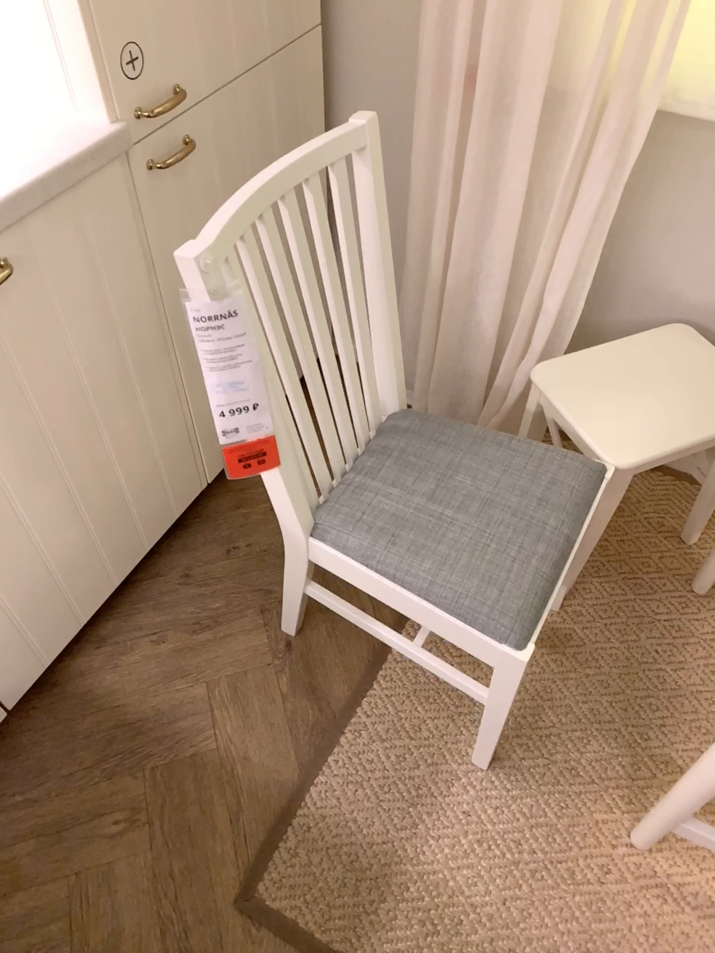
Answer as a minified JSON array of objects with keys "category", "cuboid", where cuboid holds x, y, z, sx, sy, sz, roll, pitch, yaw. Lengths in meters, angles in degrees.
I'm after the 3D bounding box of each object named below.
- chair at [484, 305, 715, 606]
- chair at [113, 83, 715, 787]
[{"category":"chair","cuboid":[0.605,-0.053,1.603,0.461,0.388,0.401,-17,52,-14]},{"category":"chair","cuboid":[0.122,-0.025,1.241,0.620,0.916,0.552,23,53,18]}]
